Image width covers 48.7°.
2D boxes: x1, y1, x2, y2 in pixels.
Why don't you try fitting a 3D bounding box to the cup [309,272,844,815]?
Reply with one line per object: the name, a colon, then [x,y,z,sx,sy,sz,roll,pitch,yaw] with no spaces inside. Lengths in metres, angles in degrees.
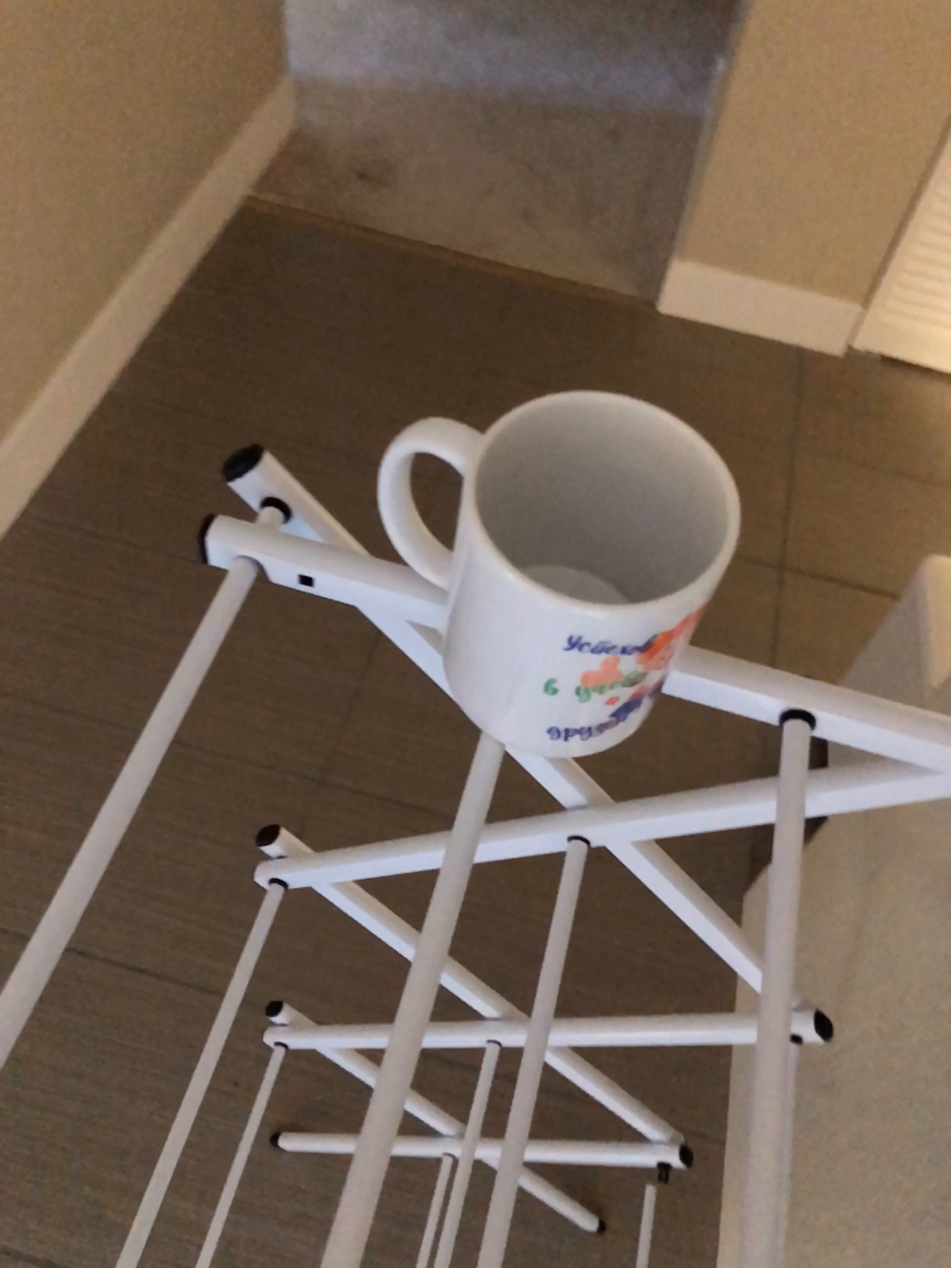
cup: [0.026,-0.029,0.344,0.130,0.090,0.090,35,61,13]
